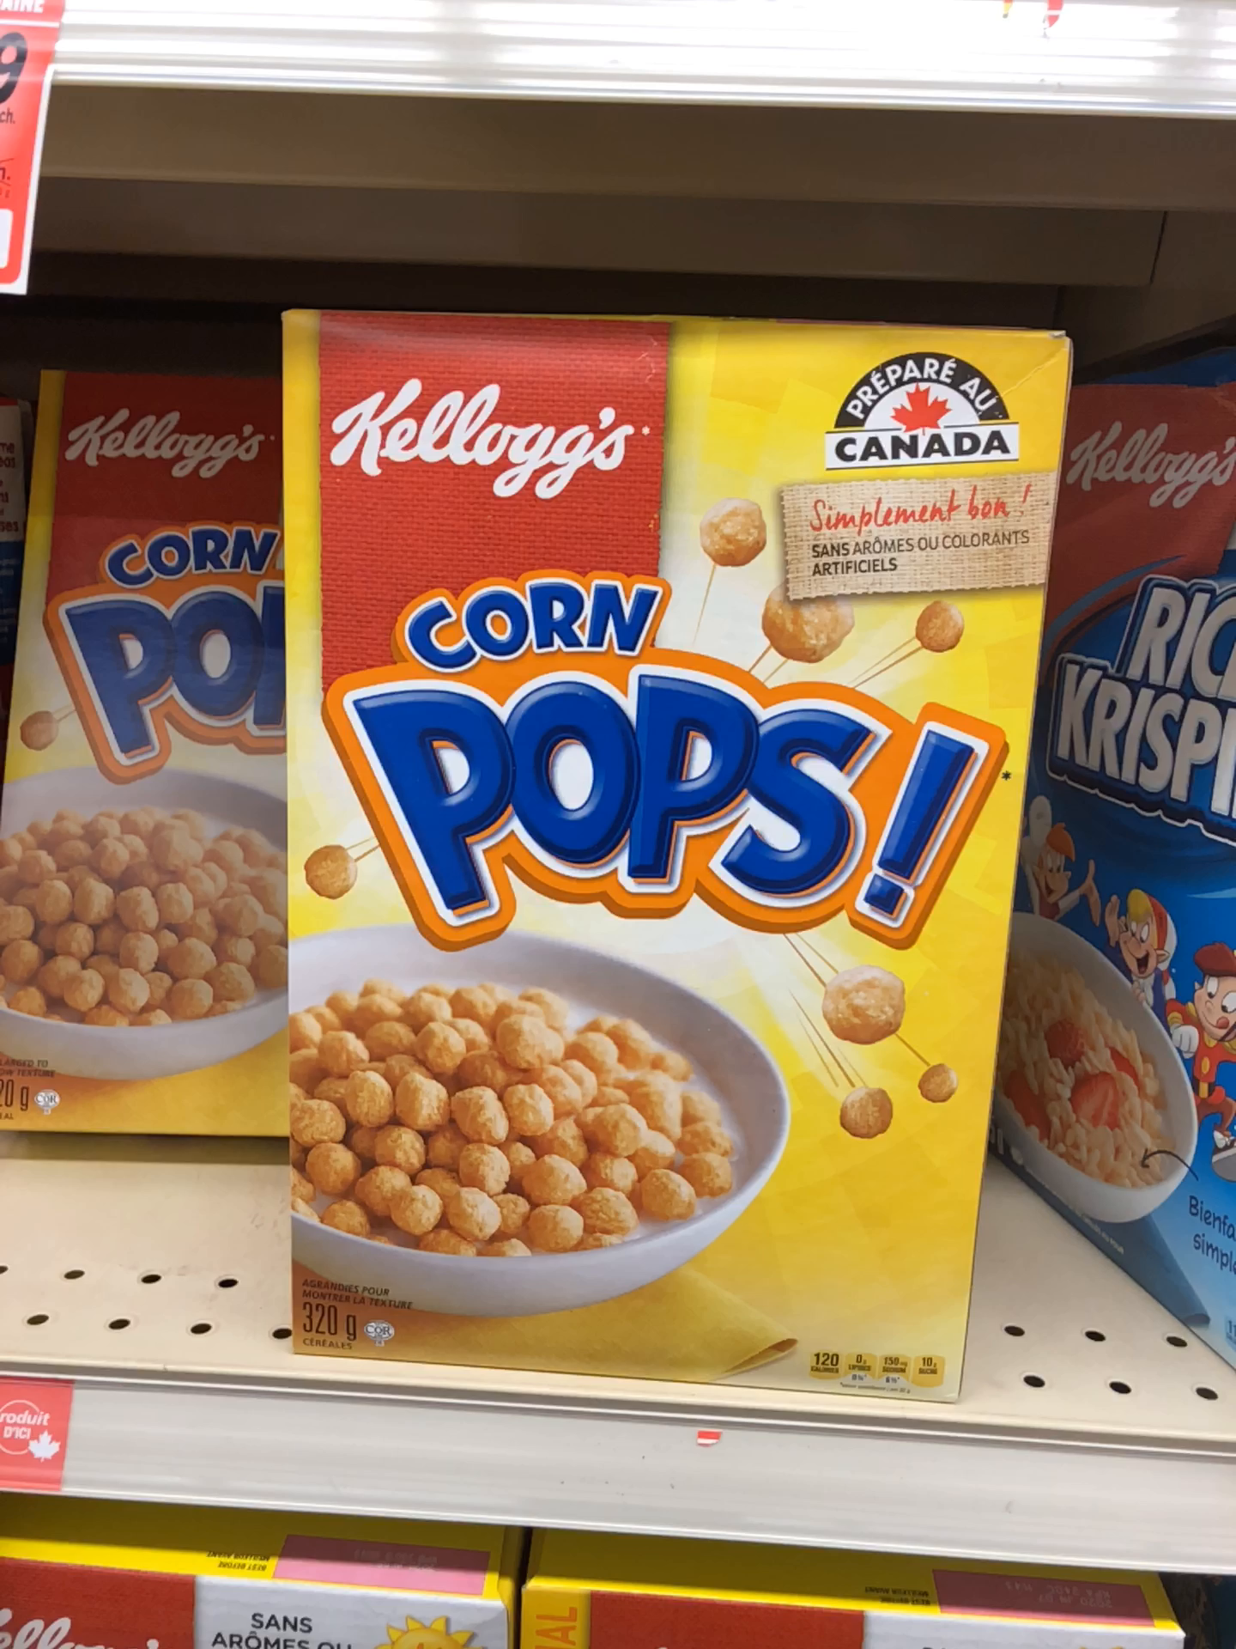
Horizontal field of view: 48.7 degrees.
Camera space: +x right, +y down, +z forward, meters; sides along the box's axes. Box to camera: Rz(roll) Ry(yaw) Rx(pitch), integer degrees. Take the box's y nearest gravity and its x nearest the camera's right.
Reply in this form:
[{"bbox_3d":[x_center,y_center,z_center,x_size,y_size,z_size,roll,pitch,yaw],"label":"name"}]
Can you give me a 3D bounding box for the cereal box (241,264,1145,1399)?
[{"bbox_3d":[0.012,0.005,0.380,0.210,0.289,0.060,3,14,4],"label":"cereal box"}]
